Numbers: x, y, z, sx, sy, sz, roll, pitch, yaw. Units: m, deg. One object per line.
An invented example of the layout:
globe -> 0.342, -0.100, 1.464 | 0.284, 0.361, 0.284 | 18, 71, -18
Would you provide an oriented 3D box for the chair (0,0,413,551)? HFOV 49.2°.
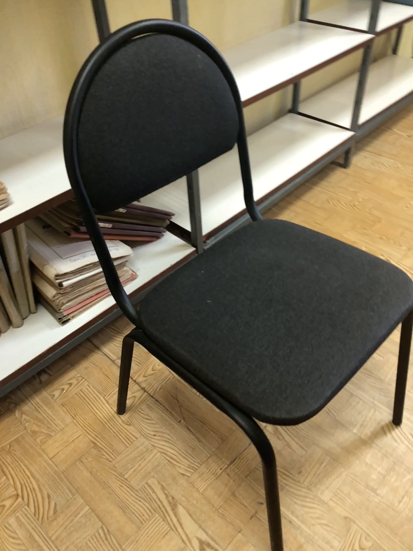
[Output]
chair -> 0.082, 0.040, 0.834 | 0.474, 0.835, 0.561 | -35, 52, -30
